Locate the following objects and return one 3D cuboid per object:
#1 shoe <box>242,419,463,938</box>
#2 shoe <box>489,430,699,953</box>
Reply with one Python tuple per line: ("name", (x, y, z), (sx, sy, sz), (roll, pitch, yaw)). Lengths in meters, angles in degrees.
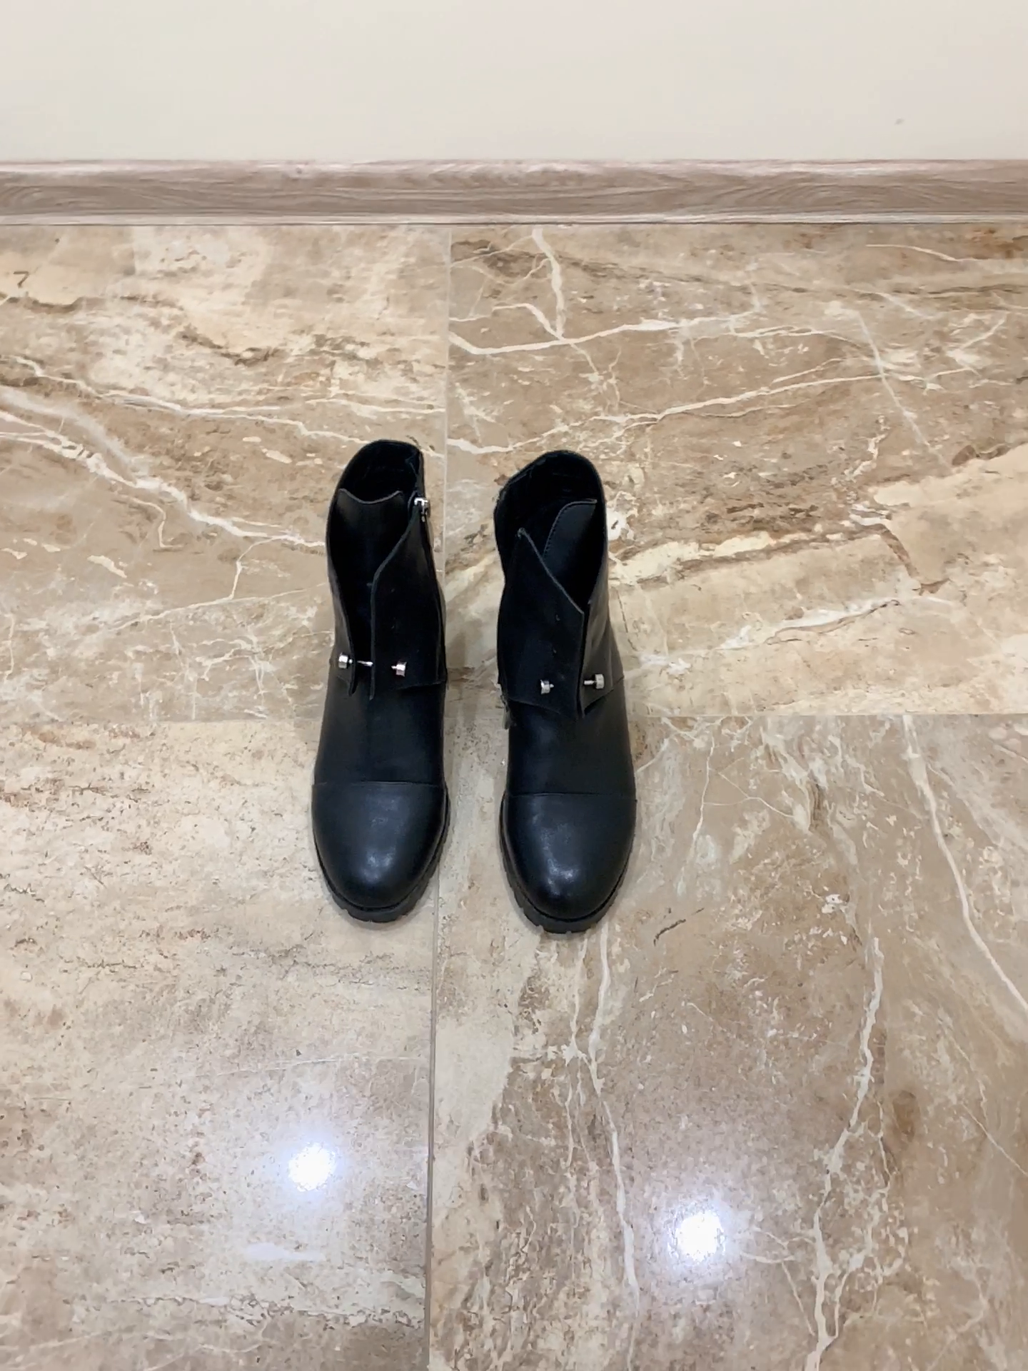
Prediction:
("shoe", (-0.083, 0.001, 0.648), (0.090, 0.199, 0.251), (1, 59, 0))
("shoe", (0.035, 0.007, 0.648), (0.090, 0.199, 0.251), (-2, 57, -2))
